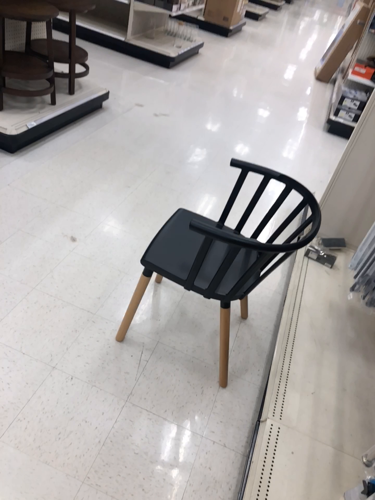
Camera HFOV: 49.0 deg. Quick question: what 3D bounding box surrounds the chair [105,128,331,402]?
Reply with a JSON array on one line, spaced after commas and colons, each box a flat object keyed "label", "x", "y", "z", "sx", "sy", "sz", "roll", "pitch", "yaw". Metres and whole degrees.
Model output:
[{"label": "chair", "x": 0.101, "y": 0.046, "z": 1.583, "sx": 0.567, "sy": 0.730, "sz": 0.537, "roll": 23, "pitch": 38, "yaw": 9}]
